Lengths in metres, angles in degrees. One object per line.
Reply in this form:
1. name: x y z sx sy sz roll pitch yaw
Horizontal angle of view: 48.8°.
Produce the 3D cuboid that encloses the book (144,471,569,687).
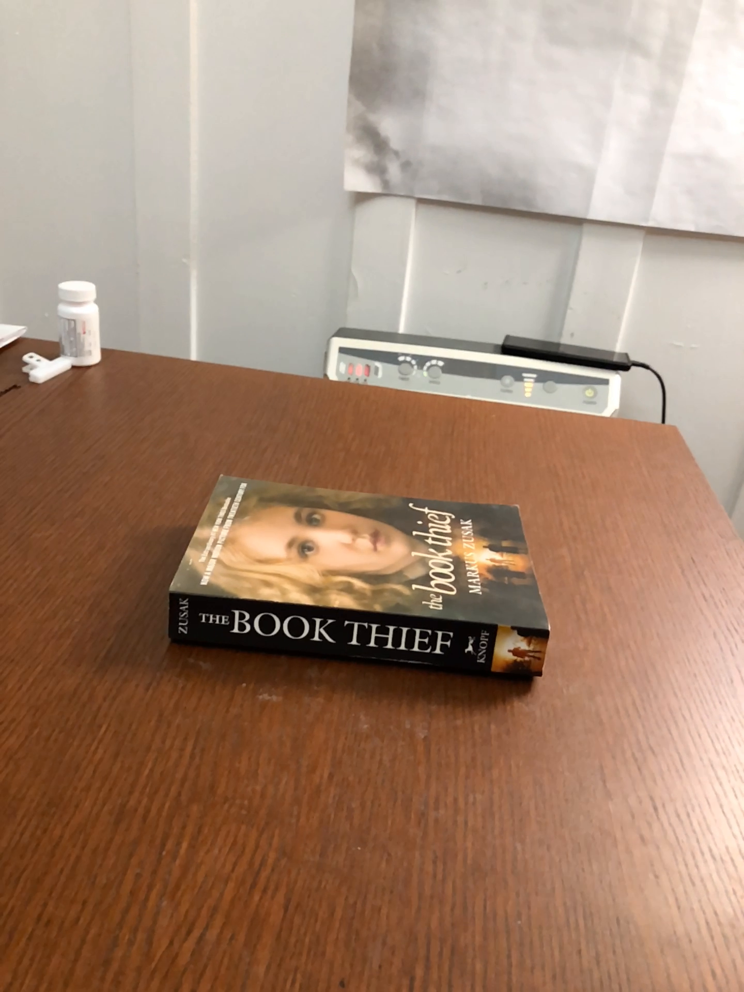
1. book: -0.007 0.043 0.496 0.220 0.030 0.151 6 27 -1
